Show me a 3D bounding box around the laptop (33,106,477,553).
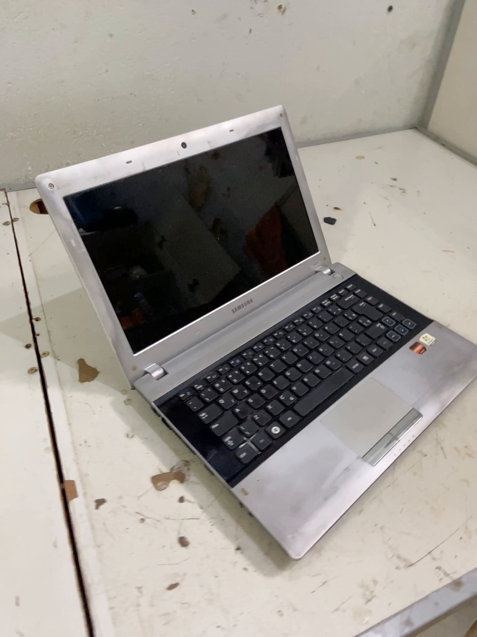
[{"bbox_3d":[0.052,-0.047,0.517,0.343,0.180,0.367,-30,51,-32],"label":"laptop"}]
